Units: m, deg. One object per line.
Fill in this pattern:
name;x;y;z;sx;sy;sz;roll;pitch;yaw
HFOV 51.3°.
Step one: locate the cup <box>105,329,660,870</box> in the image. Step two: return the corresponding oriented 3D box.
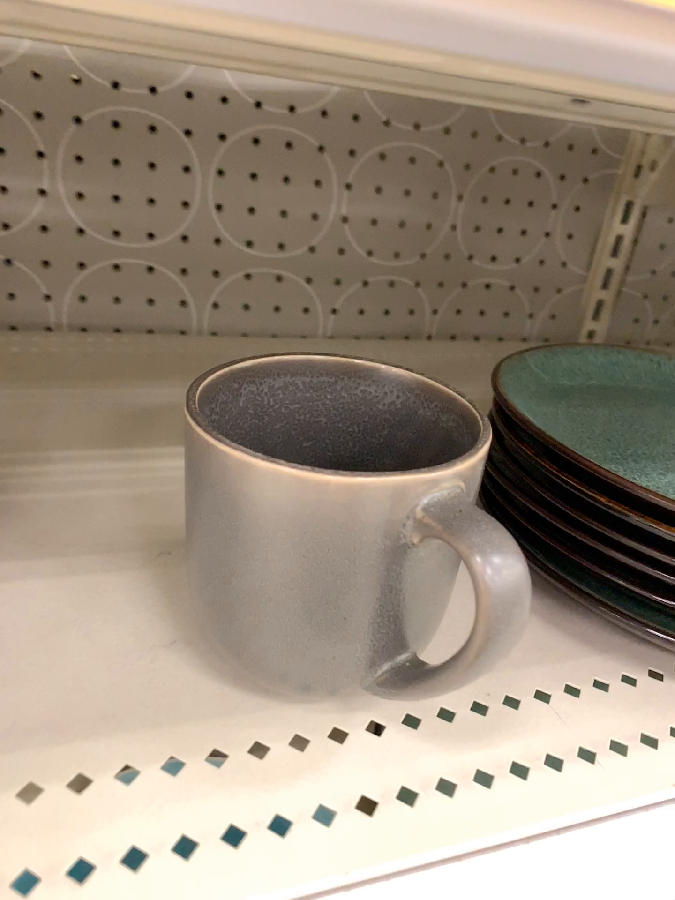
cup;0.003;0.025;0.220;0.100;0.080;0.130;-15;35;-38
